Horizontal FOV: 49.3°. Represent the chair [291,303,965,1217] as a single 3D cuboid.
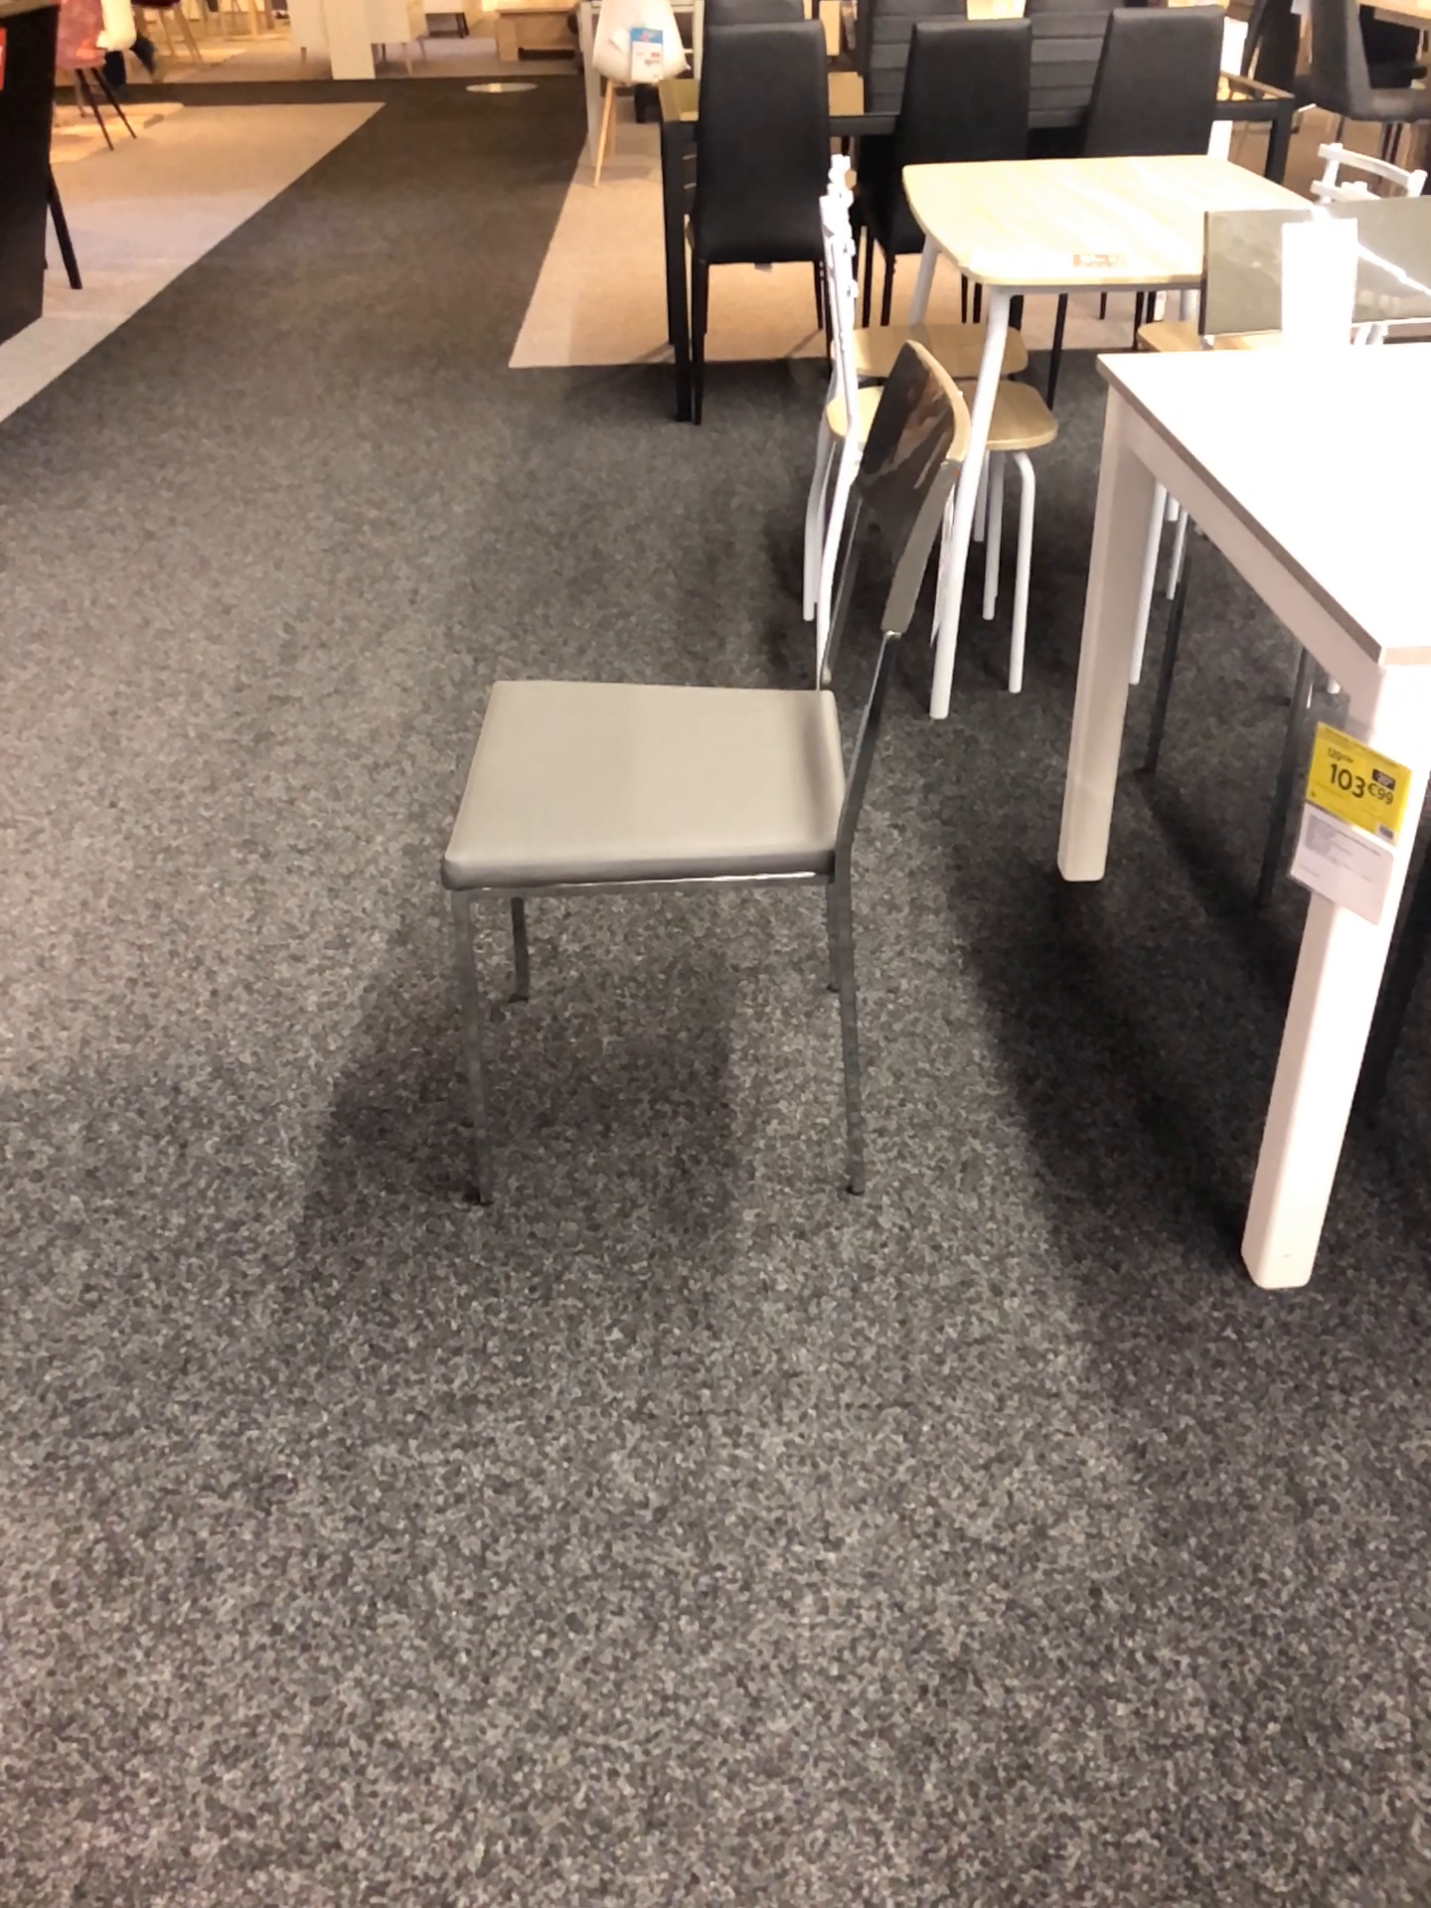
[{"bbox_3d":[-0.057,-0.201,1.713,0.550,0.855,0.493,-1,34,2],"label":"chair"}]
